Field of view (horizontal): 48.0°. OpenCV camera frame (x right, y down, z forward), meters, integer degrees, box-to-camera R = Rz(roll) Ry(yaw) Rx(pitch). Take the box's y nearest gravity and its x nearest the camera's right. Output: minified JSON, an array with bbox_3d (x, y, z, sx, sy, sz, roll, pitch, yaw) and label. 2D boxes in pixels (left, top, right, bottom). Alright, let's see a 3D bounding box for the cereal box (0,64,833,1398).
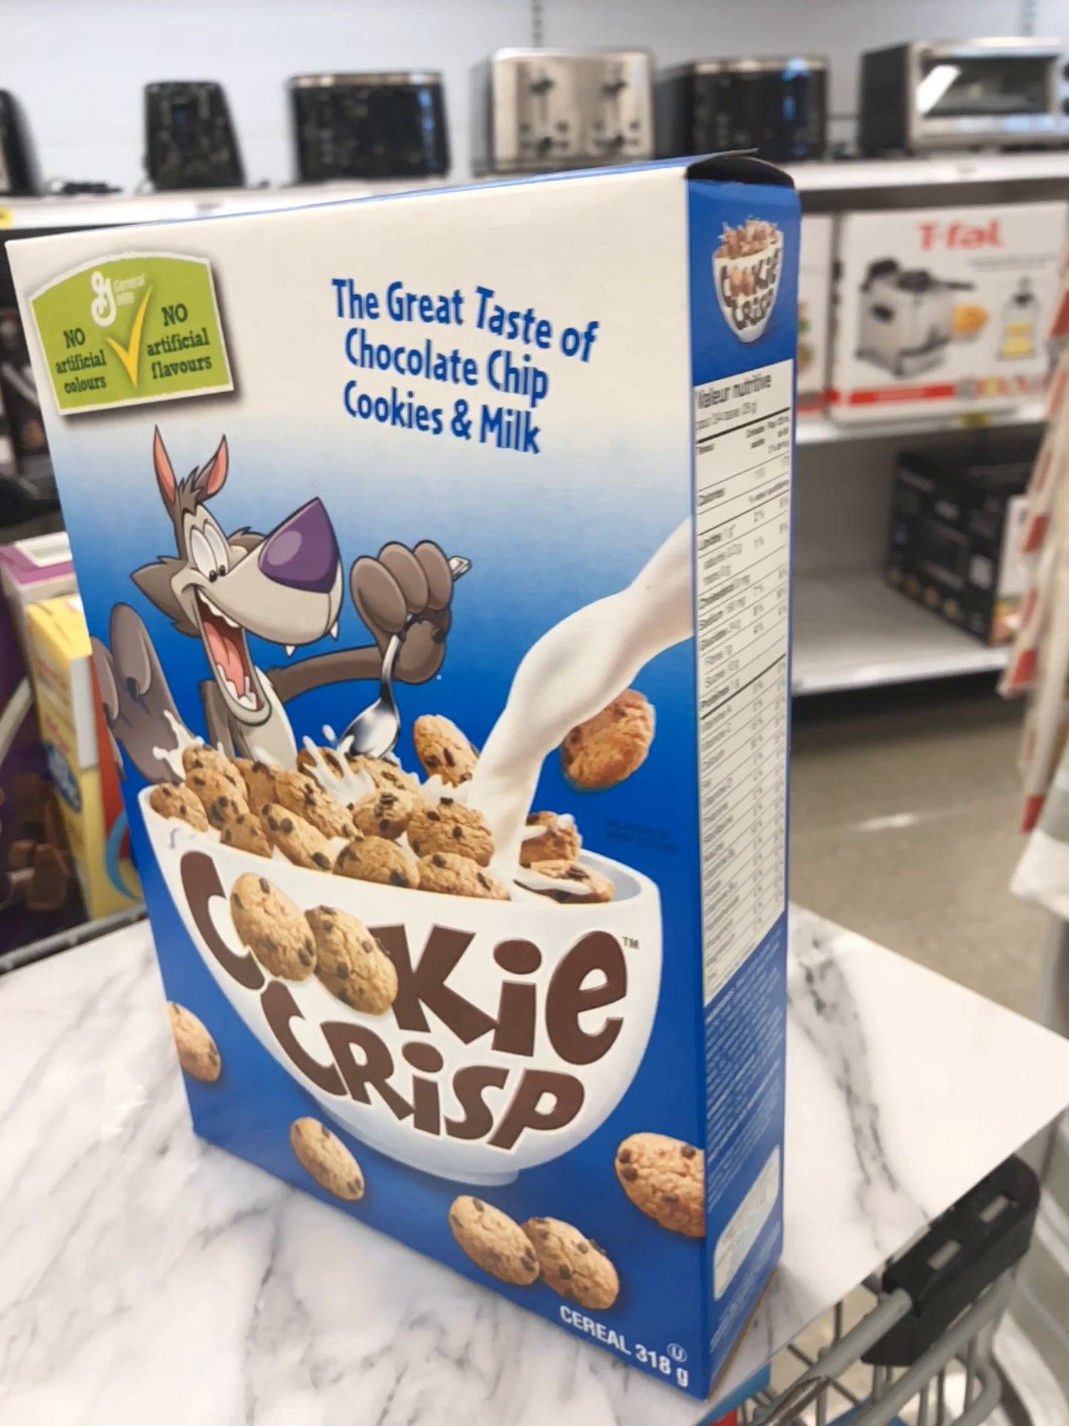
[{"bbox_3d":[-0.039,0.005,0.302,0.210,0.269,0.050,10,24,33],"label":"cereal box"}]
